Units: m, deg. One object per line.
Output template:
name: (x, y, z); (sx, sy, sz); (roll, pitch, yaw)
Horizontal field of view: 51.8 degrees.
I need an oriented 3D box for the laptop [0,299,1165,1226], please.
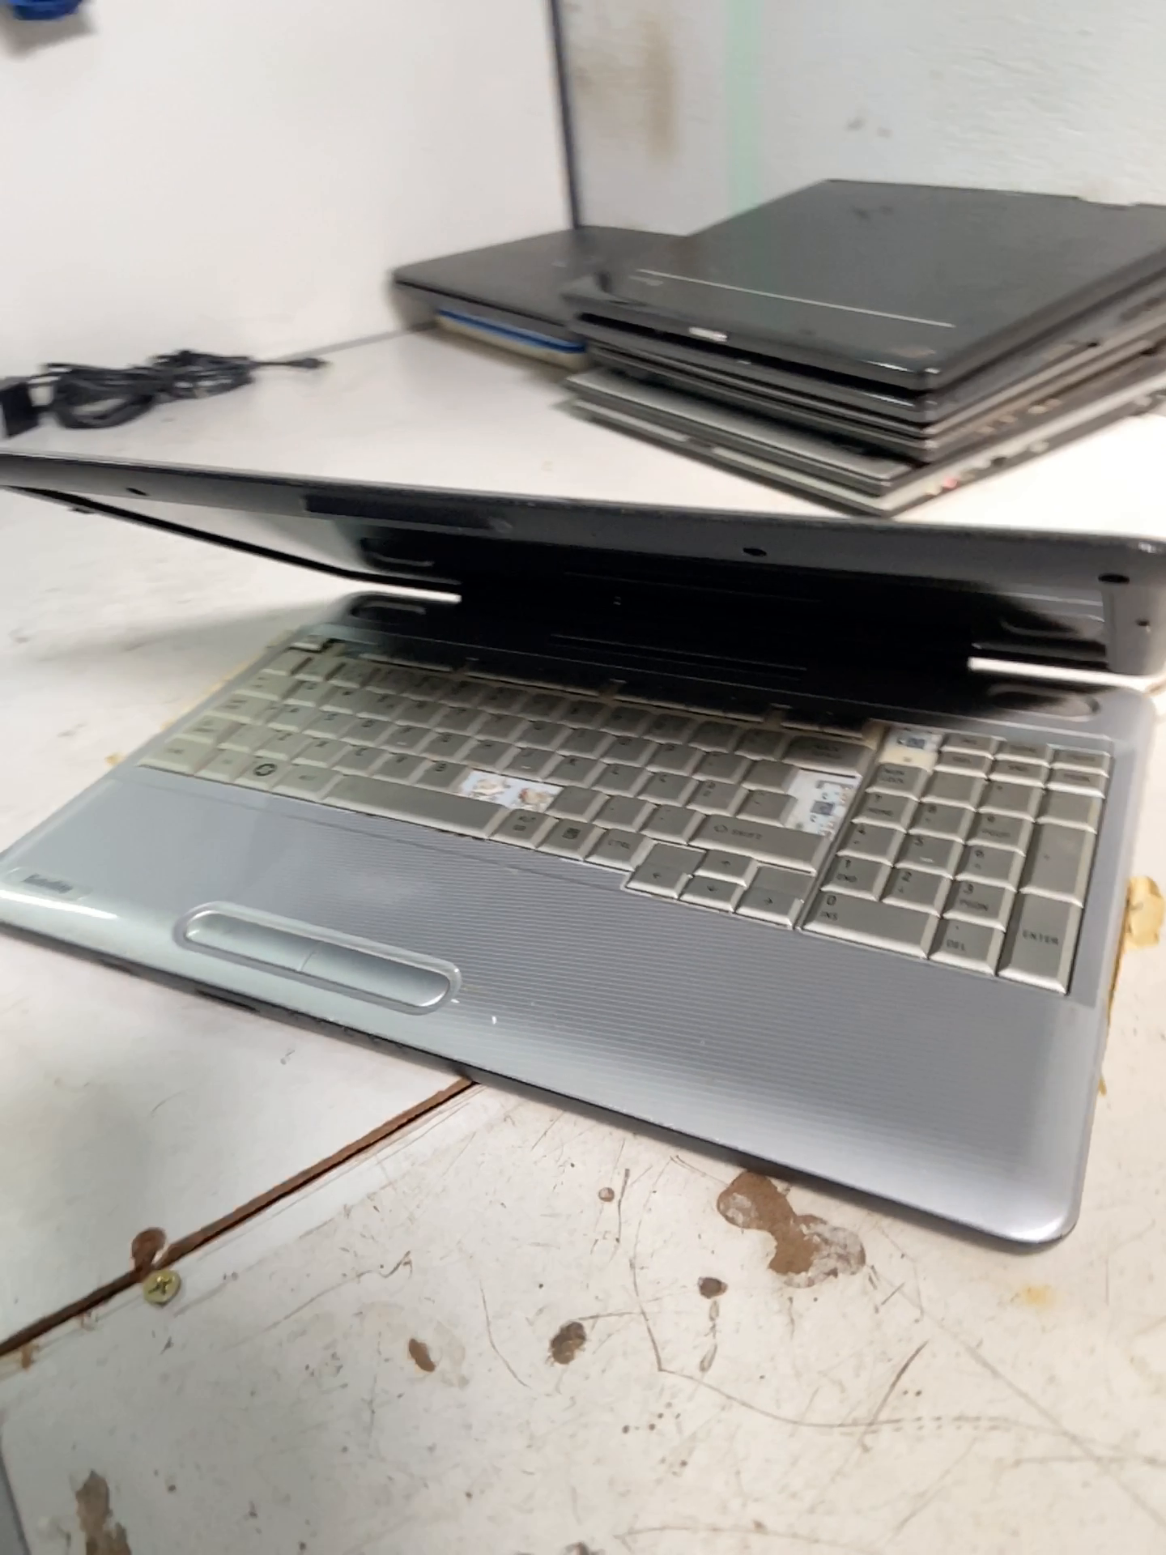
laptop: (-0.005, -0.054, 0.413); (0.372, 0.143, 0.257); (11, 37, 23)
